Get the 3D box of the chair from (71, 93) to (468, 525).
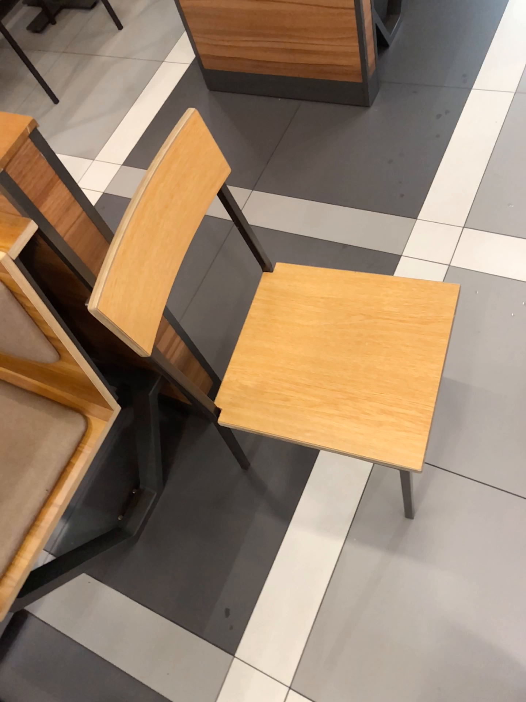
[{"bbox_3d":[0.113,-0.011,1.158,0.460,0.847,0.431,9,65,20],"label":"chair"}]
